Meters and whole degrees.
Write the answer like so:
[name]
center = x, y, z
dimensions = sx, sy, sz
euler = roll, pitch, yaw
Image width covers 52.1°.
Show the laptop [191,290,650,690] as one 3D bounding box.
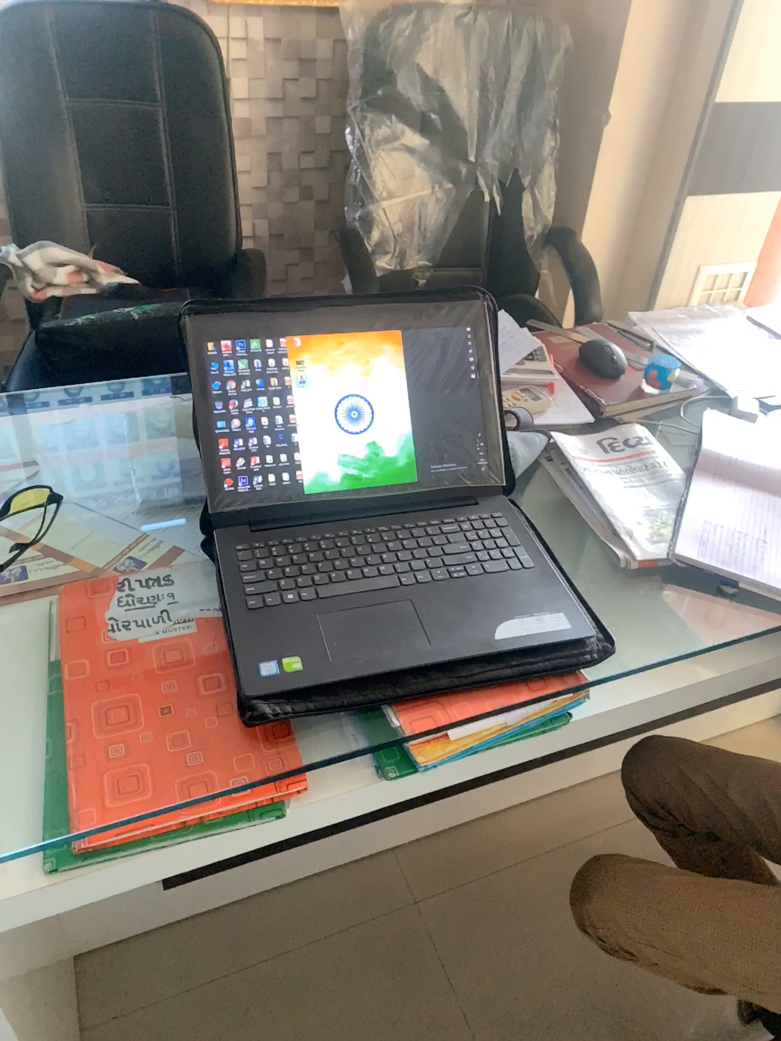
[laptop]
center = -0.009, -0.064, 0.809
dimensions = 0.334, 0.175, 0.392
euler = -6, 40, -14
